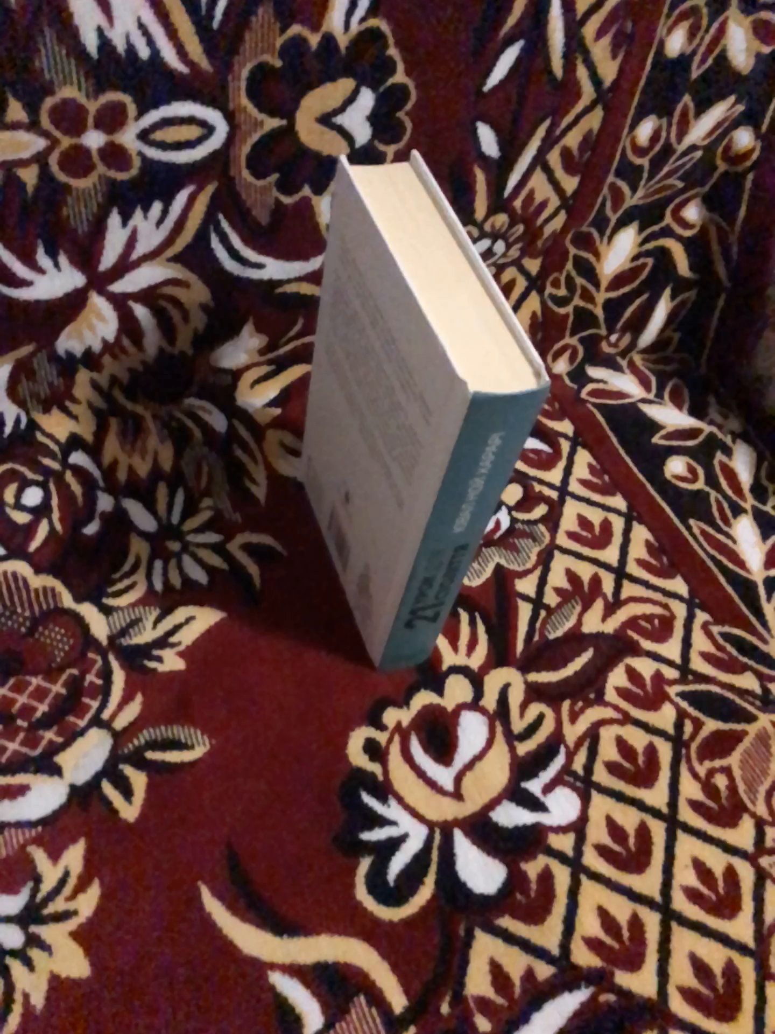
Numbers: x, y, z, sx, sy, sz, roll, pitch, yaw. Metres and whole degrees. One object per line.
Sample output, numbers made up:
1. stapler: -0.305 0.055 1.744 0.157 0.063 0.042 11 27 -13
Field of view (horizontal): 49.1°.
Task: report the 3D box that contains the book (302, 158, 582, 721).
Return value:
1. book: 0.006 -0.024 0.393 0.040 0.211 0.154 -10 55 -17
